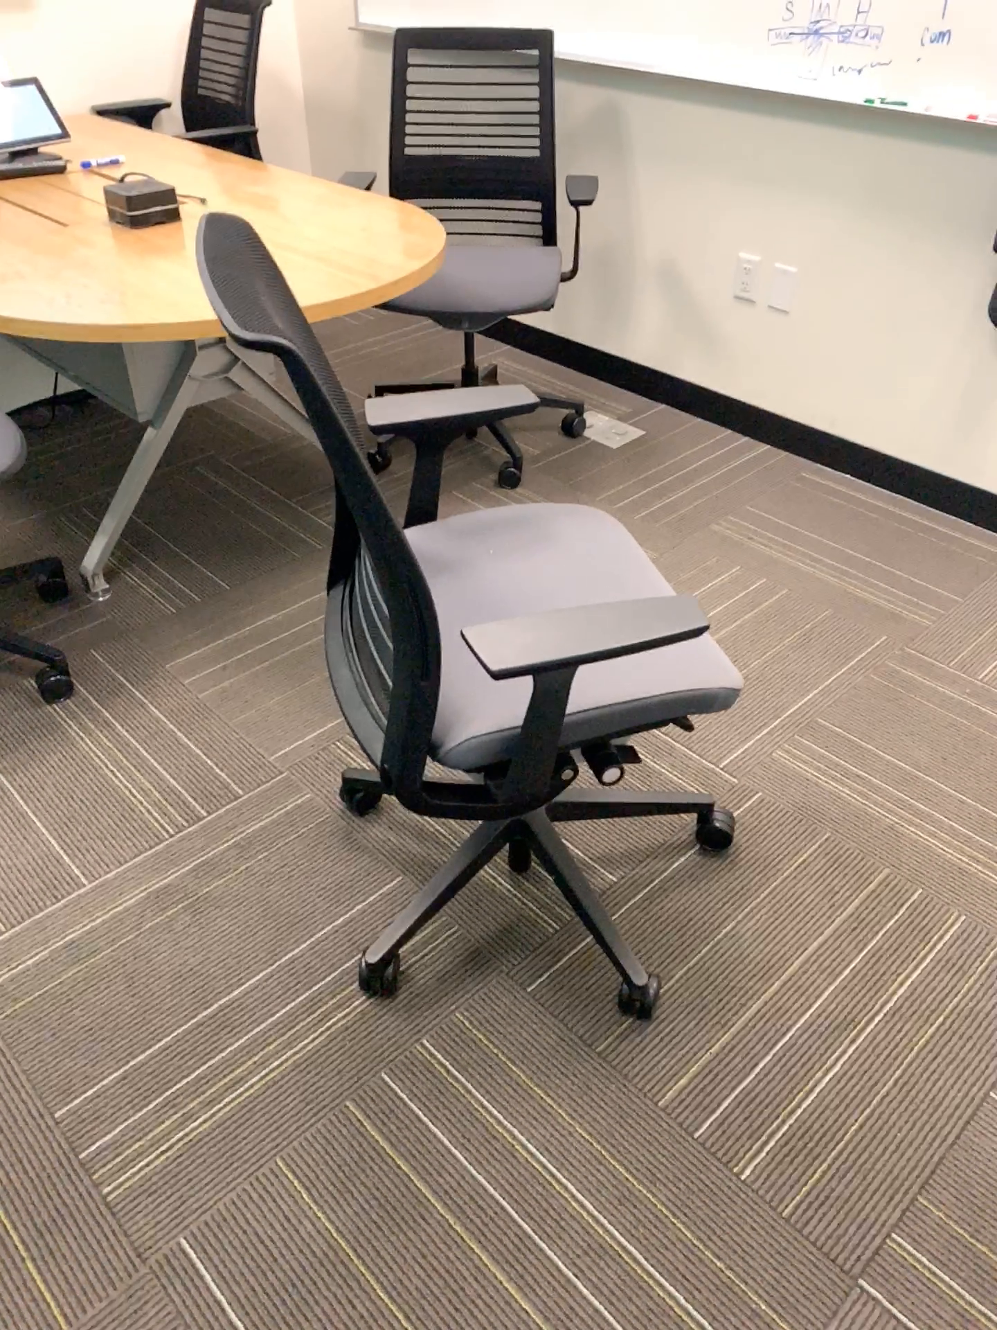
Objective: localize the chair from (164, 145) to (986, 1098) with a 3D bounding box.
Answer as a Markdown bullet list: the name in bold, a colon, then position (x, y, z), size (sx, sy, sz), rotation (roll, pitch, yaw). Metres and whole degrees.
- **chair**: position (0.009, -0.066, 1.371), size (0.690, 0.994, 0.654), rotation (-9, 39, -12)
